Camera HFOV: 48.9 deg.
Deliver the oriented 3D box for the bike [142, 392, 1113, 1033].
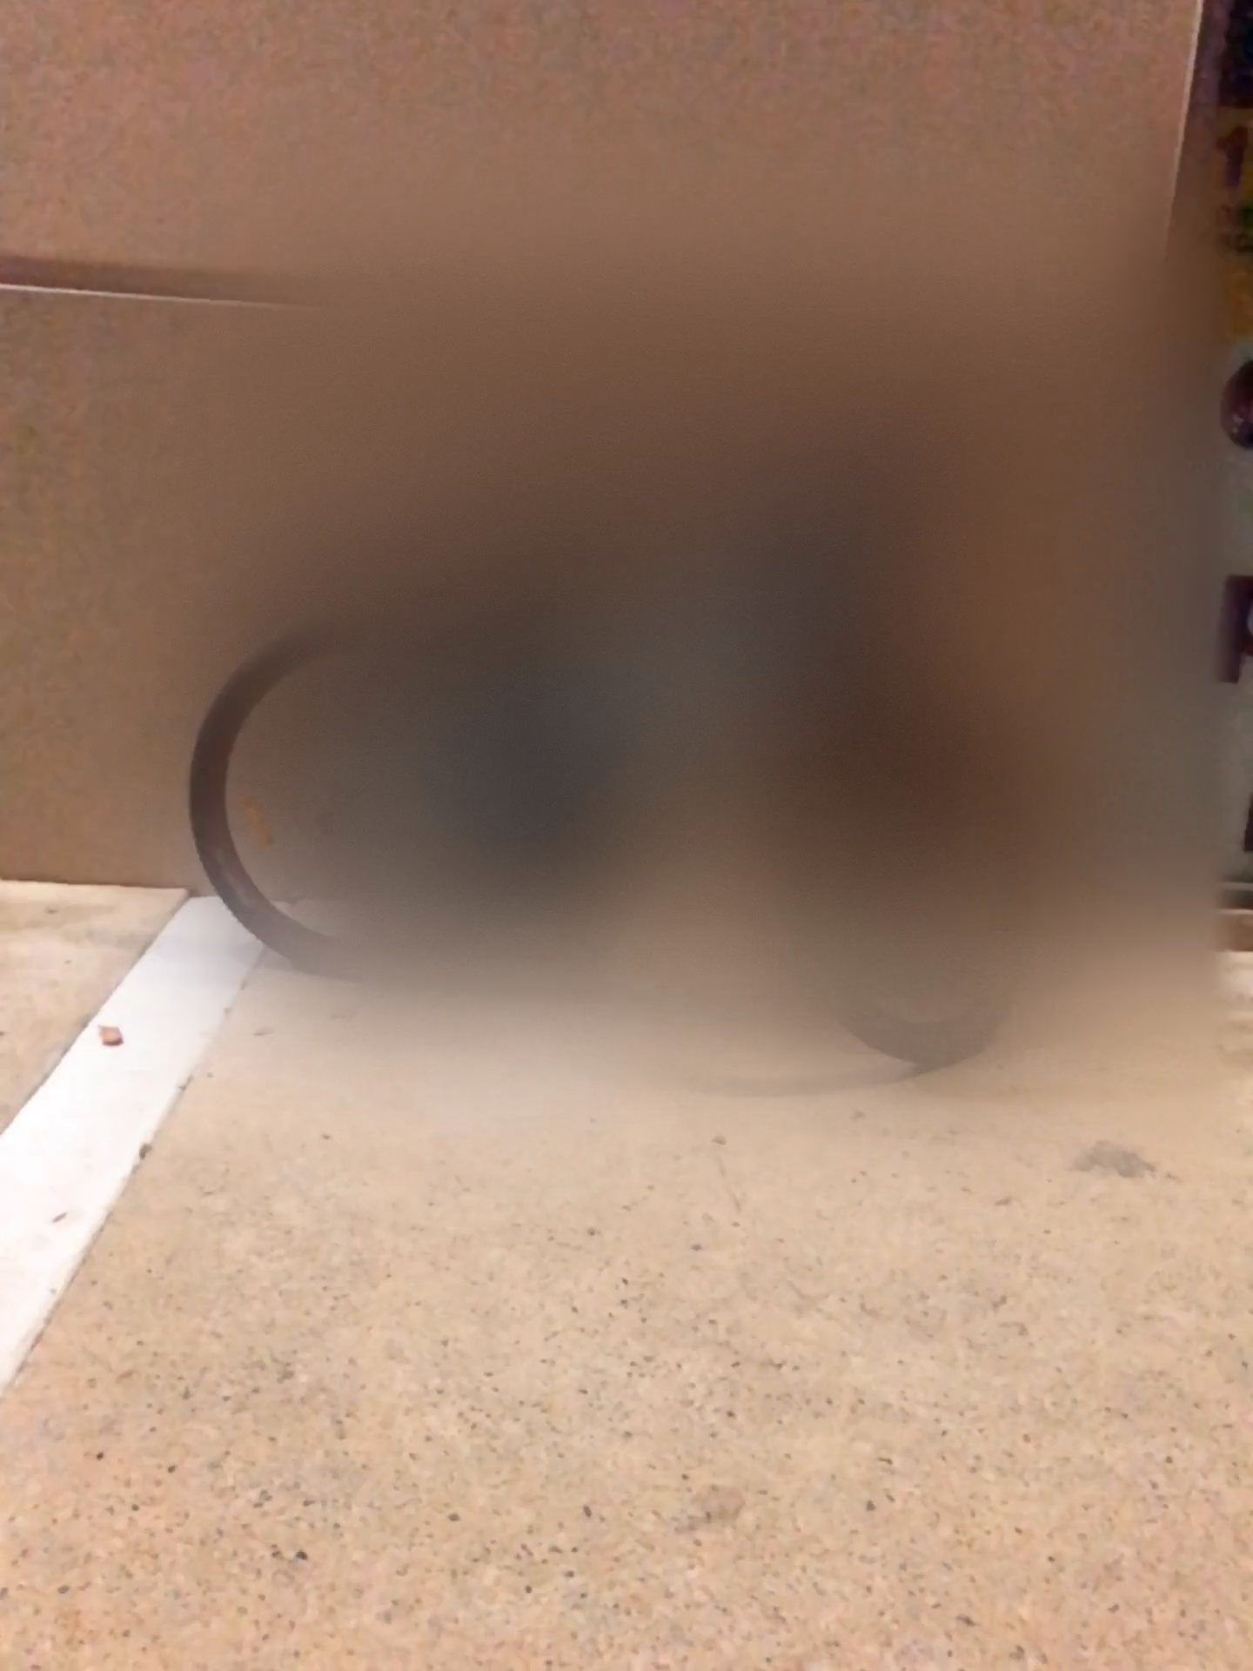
[{"bbox_3d":[0.011,-0.266,2.698,1.603,1.063,0.589,3,16,1],"label":"bike"}]
